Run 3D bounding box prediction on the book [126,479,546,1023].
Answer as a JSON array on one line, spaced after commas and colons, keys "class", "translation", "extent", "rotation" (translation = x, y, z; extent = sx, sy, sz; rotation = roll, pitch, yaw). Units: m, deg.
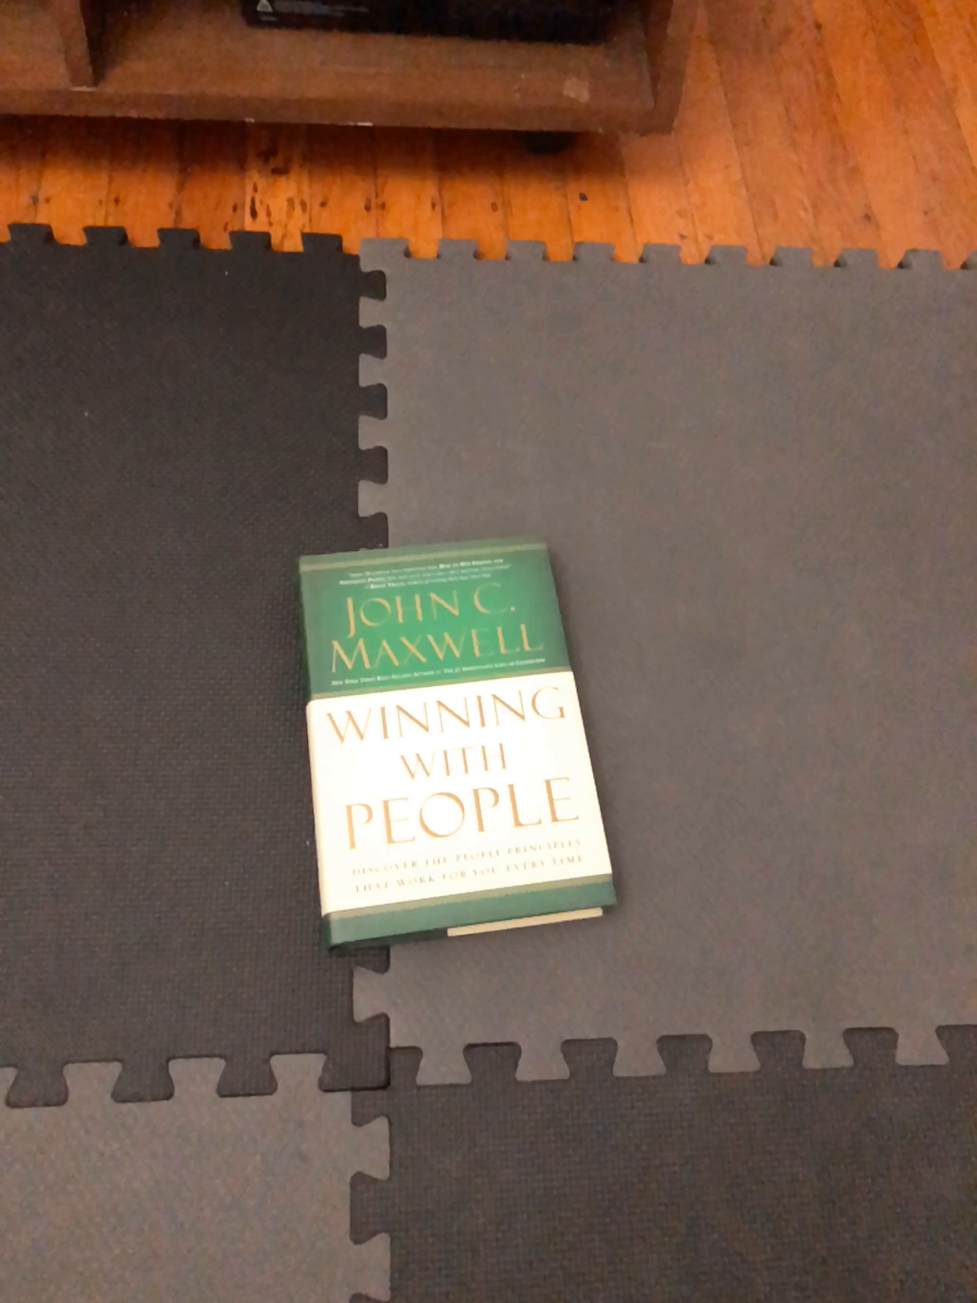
[{"class": "book", "translation": [-0.088, 0.040, 0.591], "extent": [0.200, 0.030, 0.291], "rotation": [-4, 65, -7]}]
